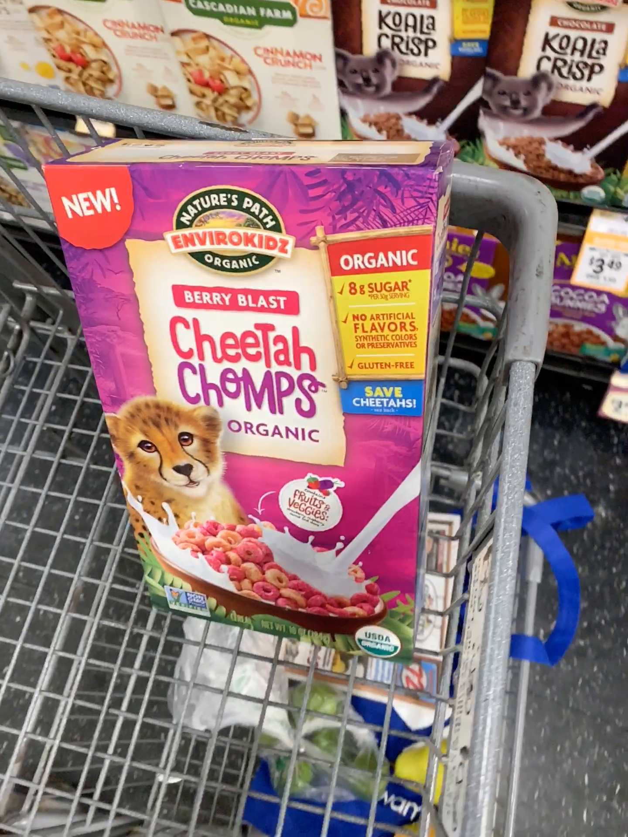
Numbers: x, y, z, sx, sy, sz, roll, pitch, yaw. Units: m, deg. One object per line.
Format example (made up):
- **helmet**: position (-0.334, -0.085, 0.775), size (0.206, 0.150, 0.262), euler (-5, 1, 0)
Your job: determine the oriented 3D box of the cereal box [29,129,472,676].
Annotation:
- **cereal box**: position (-0.020, 0.000, 0.314), size (0.160, 0.249, 0.060), euler (7, 32, 15)
